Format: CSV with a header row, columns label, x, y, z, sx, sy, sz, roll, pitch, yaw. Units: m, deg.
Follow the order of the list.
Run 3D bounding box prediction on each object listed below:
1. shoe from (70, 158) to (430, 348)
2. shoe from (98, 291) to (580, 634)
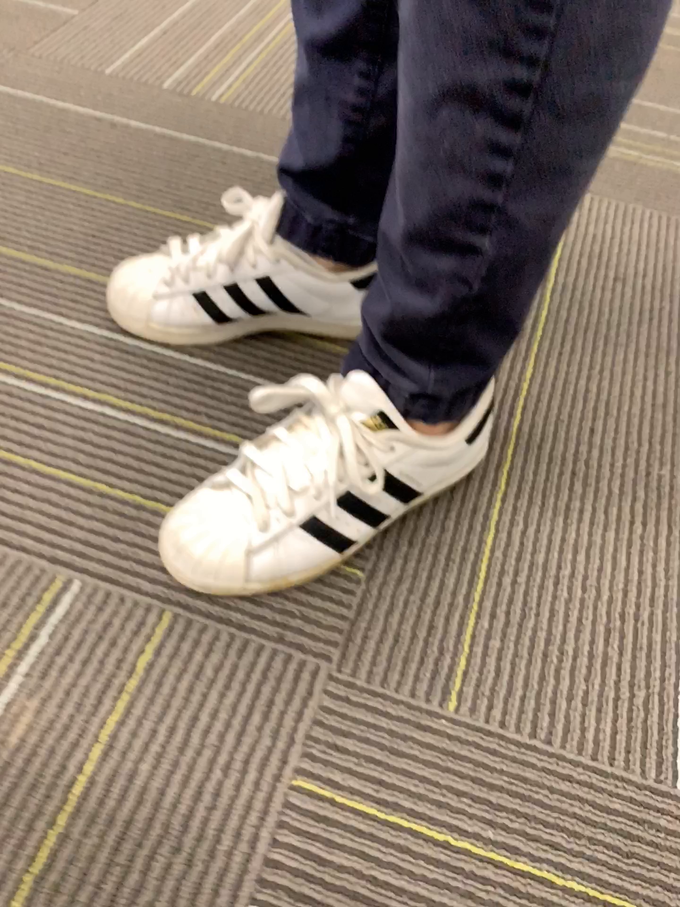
label,x,y,z,sx,sy,sz,roll,pitch,yaw
shoe,-0.071,-0.164,0.582,0.258,0.104,0.106,-3,53,-8
shoe,0.000,-0.002,0.454,0.262,0.104,0.108,-18,56,-19
